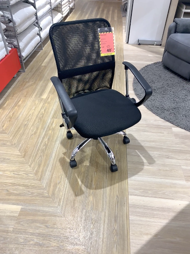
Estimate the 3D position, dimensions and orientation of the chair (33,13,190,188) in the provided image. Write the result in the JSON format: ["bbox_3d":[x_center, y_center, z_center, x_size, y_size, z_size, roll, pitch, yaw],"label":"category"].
[{"bbox_3d":[0.050,-0.190,1.306,0.641,0.865,0.603,-16,45,-19],"label":"chair"}]
